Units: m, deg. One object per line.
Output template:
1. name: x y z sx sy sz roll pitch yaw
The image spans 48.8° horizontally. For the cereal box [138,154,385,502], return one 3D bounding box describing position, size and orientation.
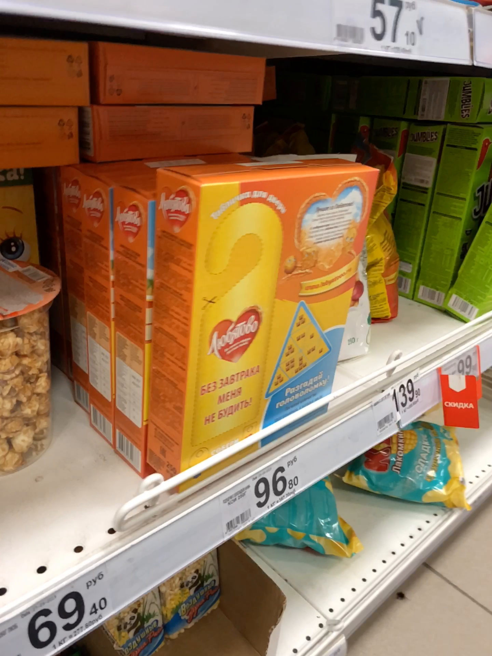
1. cereal box: 0.010 -0.008 0.417 0.180 0.229 0.050 -18 36 -40
